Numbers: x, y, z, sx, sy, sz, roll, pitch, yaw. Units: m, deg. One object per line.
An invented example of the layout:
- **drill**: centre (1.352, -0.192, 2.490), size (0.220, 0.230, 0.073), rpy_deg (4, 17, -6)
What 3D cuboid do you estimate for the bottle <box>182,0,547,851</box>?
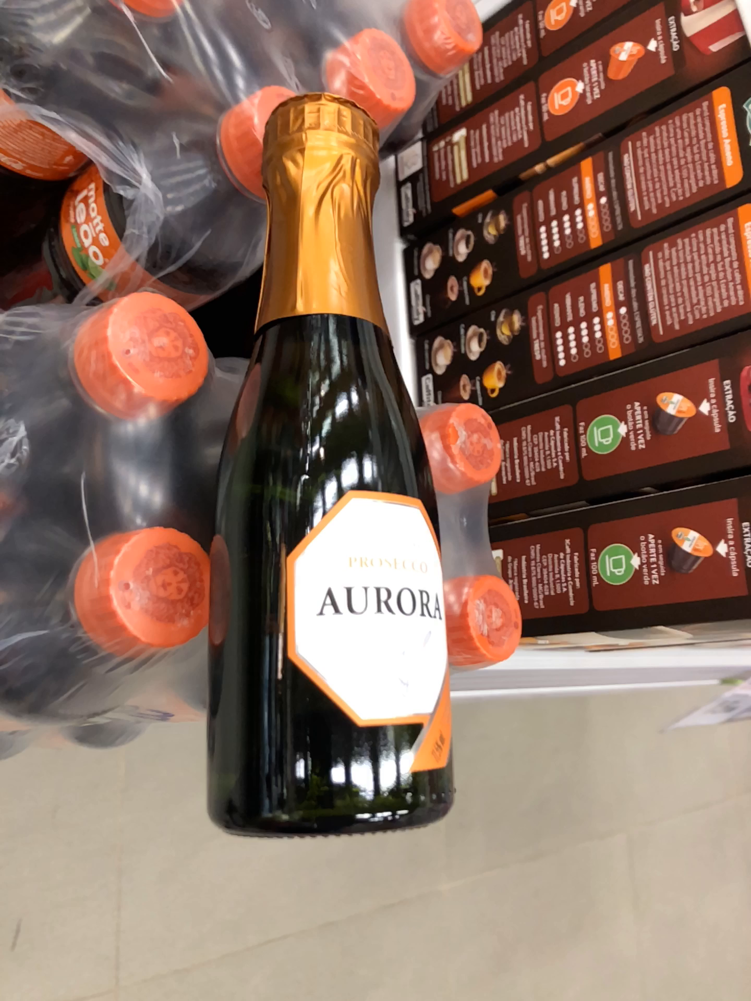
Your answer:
- **bottle**: centre (-0.001, -0.020, 0.199), size (0.060, 0.050, 0.180), rpy_deg (12, 73, -43)
